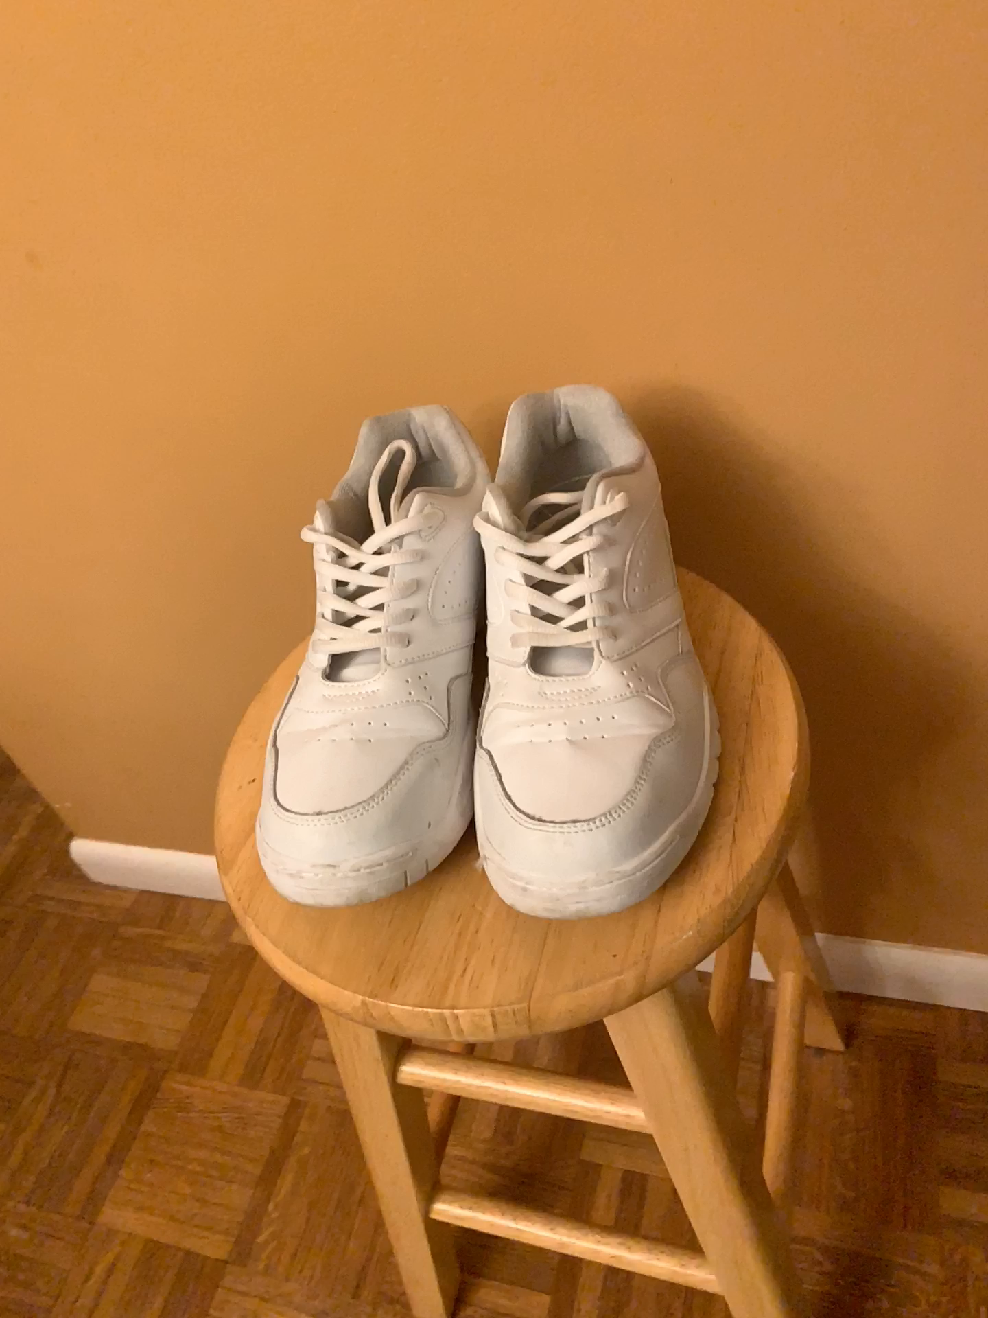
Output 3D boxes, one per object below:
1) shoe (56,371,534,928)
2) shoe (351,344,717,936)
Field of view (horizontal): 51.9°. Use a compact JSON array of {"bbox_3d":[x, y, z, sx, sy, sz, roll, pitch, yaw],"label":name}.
[{"bbox_3d":[-0.073,-0.018,0.509,0.130,0.109,0.271,-1,45,16],"label":"shoe"},{"bbox_3d":[0.027,-0.023,0.480,0.120,0.109,0.271,-7,44,11],"label":"shoe"}]
